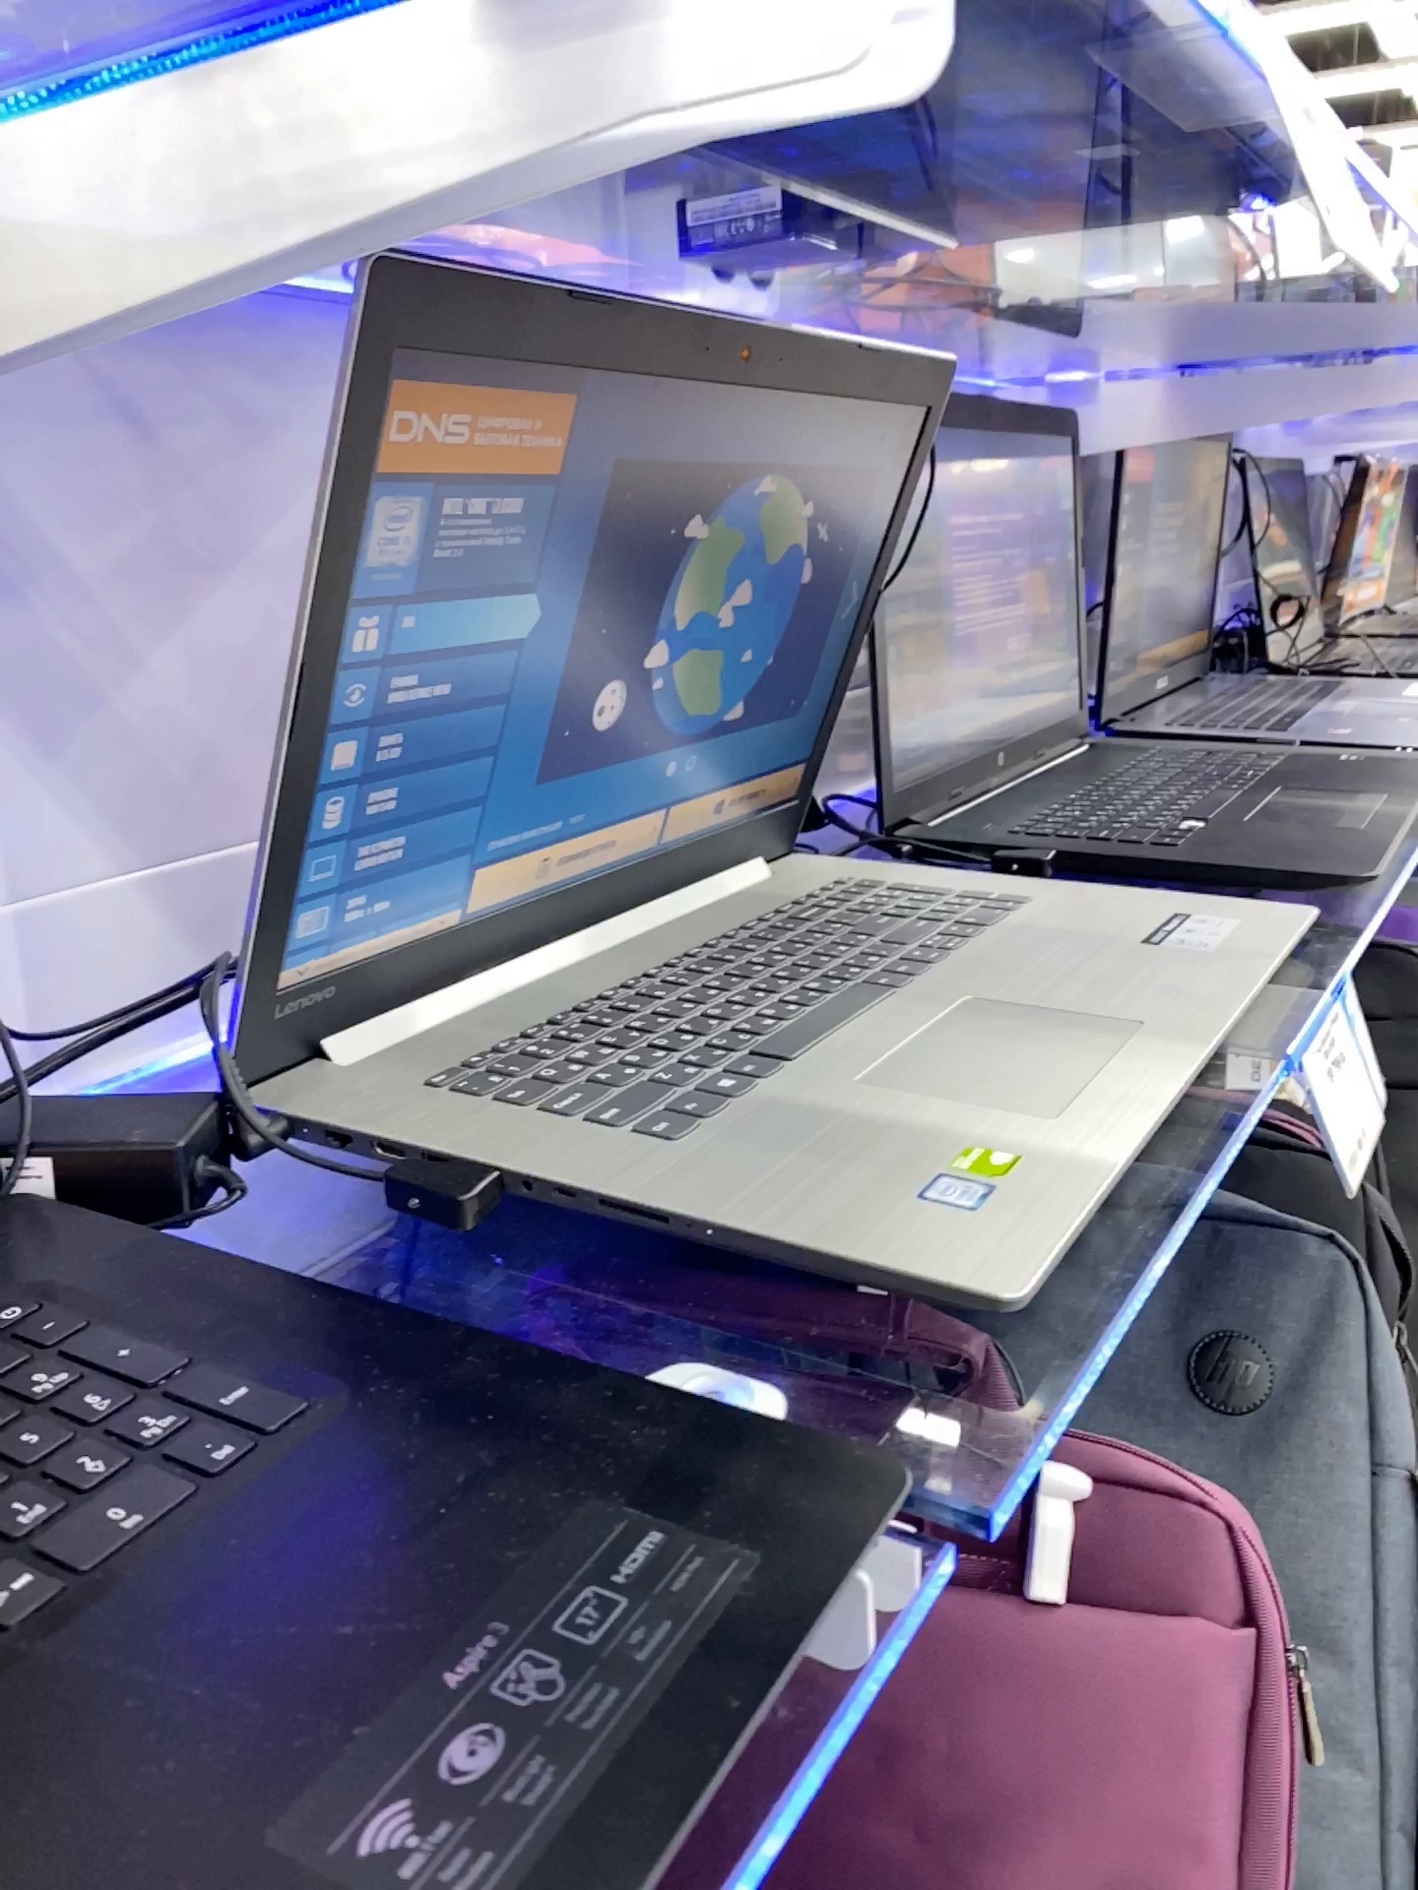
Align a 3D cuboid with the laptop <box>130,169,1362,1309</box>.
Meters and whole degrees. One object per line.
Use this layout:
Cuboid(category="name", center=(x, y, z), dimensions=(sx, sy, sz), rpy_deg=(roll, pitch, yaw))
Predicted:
Cuboid(category="laptop", center=(0.059, -0.103, 0.568), dimensions=(0.280, 0.256, 0.418), rpy_deg=(9, 18, 30))
